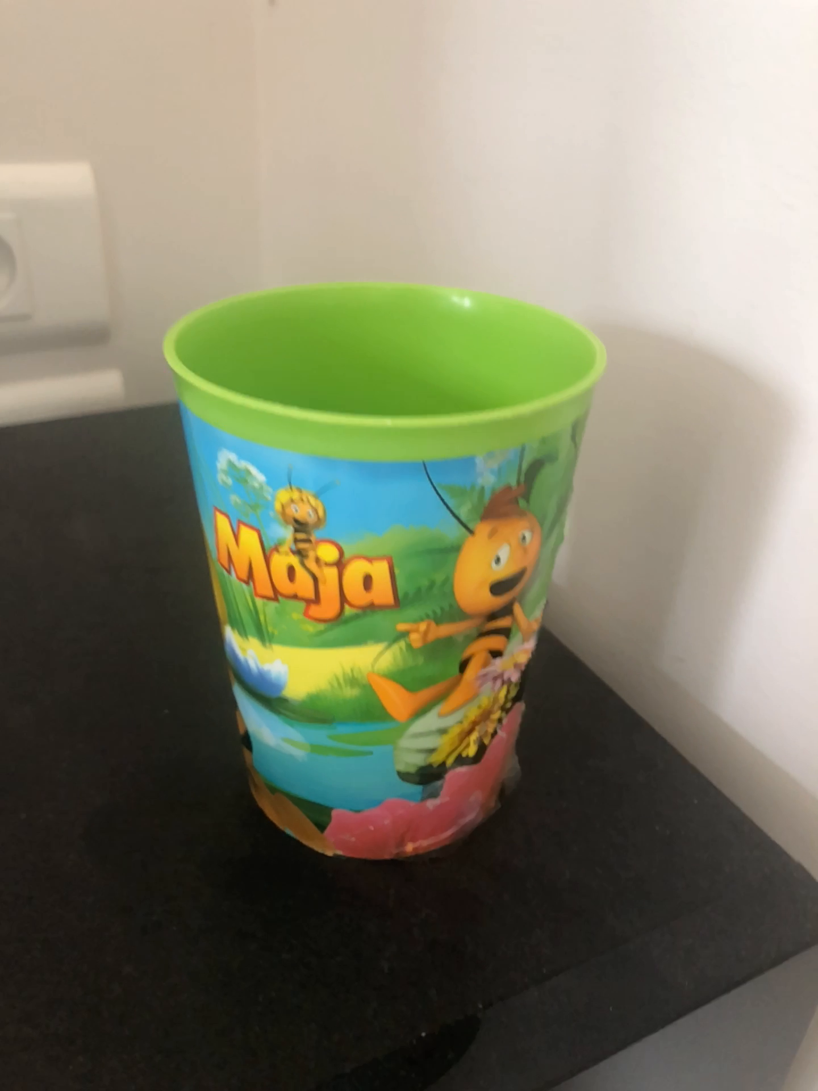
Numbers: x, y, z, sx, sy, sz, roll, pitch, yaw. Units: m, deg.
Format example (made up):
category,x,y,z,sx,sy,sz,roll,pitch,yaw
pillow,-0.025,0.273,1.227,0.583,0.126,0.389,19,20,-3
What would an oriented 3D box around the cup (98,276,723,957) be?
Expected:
category,x,y,z,sx,sy,sz,roll,pitch,yaw
cup,-0.005,0.004,0.184,0.080,0.089,0.080,2,29,-1
